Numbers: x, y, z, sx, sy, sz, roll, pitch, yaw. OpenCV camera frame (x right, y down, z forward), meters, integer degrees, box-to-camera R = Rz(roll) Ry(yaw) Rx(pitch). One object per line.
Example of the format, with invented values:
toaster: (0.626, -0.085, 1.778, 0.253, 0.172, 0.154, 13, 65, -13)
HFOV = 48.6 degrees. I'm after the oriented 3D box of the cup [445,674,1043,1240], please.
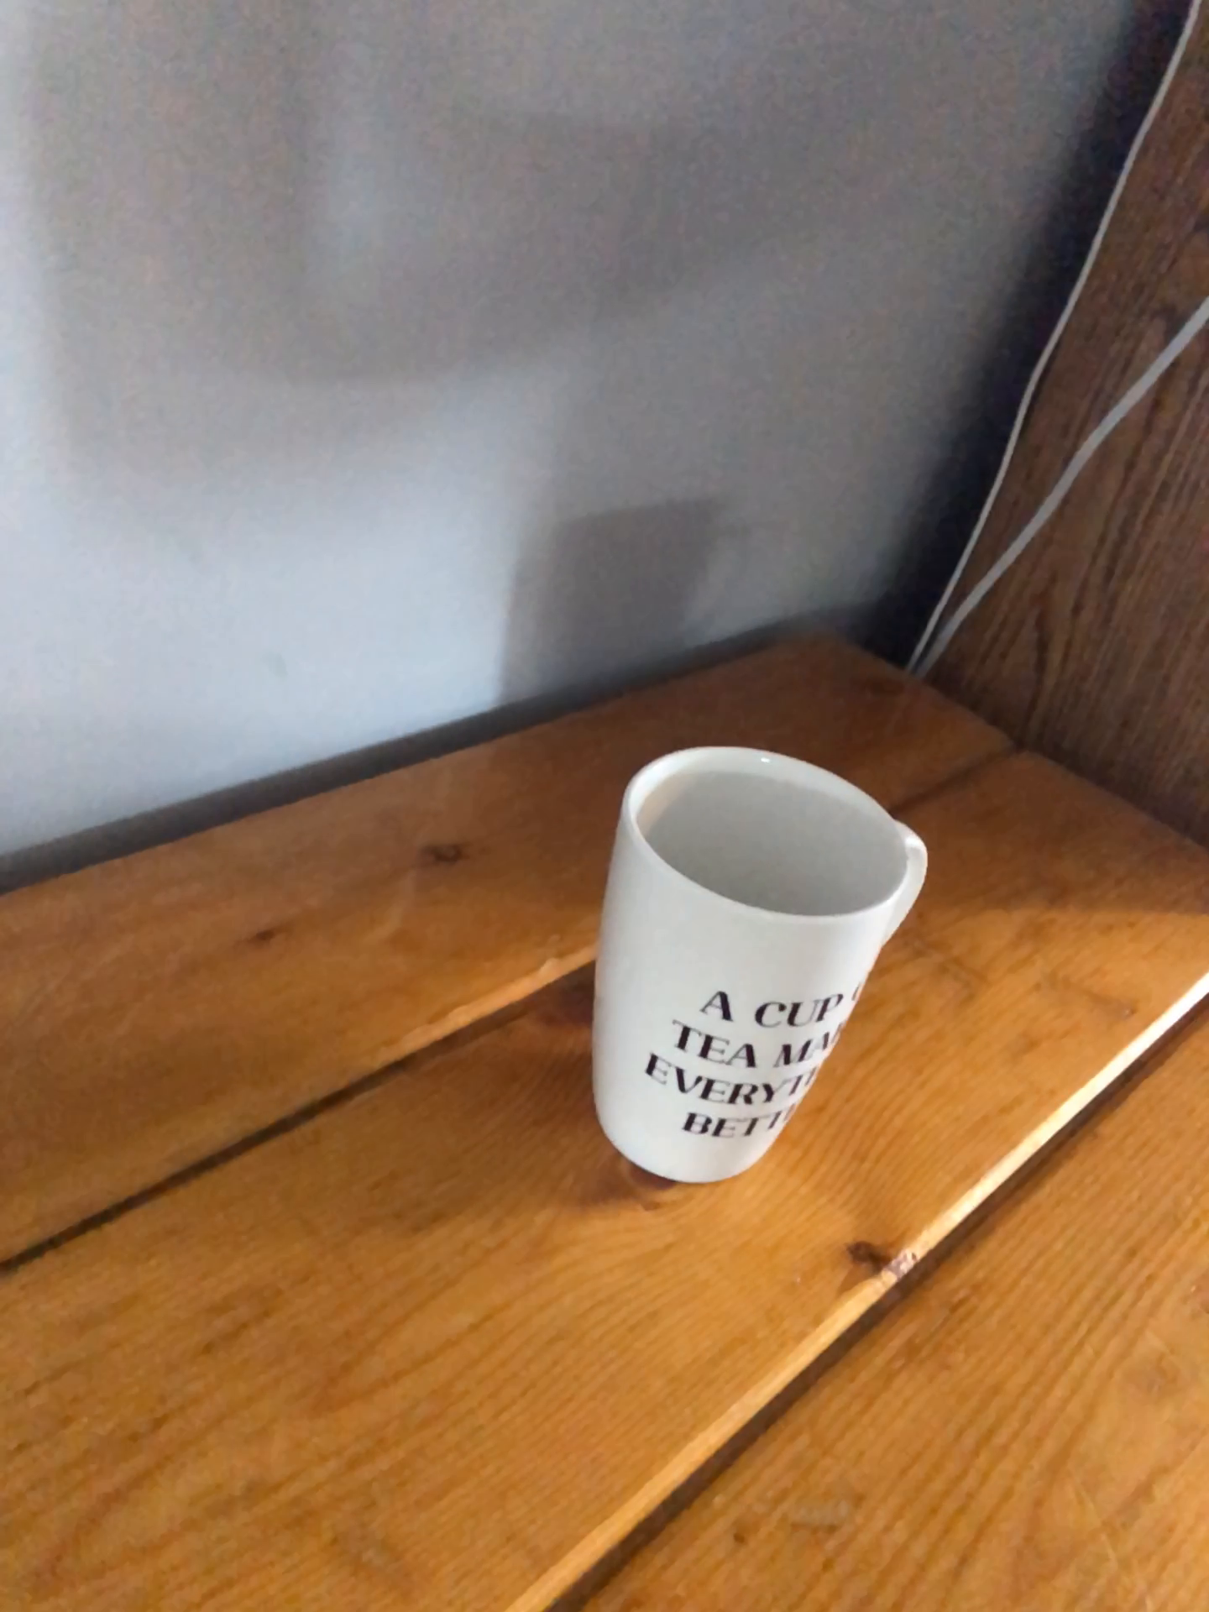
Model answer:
cup: (0.041, 0.042, 0.444, 0.140, 0.120, 0.100, -13, 43, -35)
